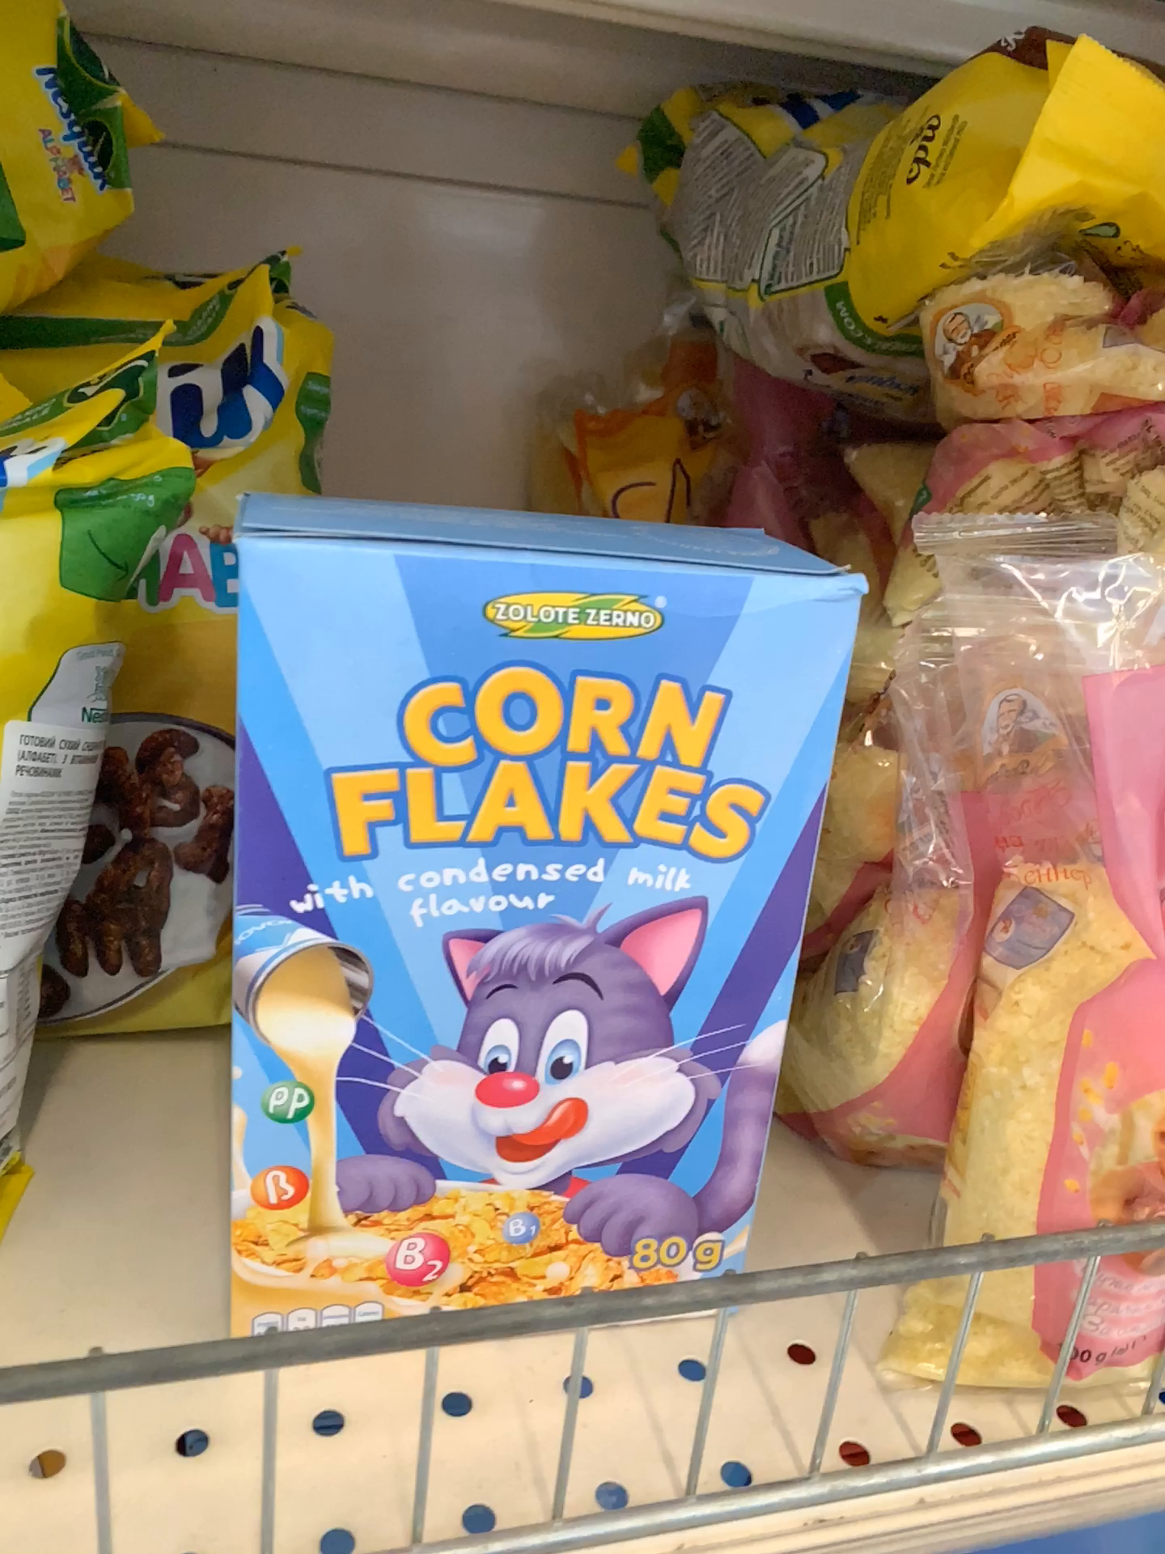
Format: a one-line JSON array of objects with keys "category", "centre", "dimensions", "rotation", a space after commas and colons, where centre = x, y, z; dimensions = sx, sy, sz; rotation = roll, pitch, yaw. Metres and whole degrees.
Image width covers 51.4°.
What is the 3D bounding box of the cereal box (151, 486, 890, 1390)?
[{"category": "cereal box", "centre": [-0.018, 0.030, 0.240], "dimensions": [0.120, 0.159, 0.050], "rotation": [0, 19, -16]}]
